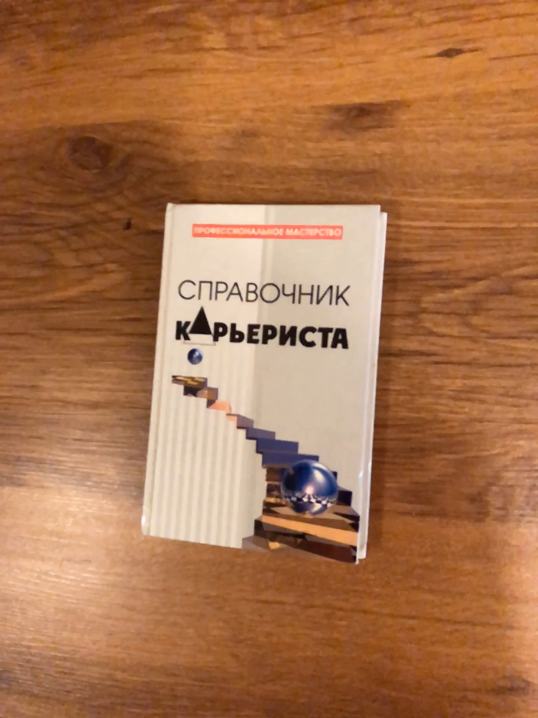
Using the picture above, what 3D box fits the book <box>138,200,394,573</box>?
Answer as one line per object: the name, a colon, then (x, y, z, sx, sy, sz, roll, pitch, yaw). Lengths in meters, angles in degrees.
book: (-0.001, 0.010, 0.348, 0.136, 0.026, 0.204, 3, 87, 13)
